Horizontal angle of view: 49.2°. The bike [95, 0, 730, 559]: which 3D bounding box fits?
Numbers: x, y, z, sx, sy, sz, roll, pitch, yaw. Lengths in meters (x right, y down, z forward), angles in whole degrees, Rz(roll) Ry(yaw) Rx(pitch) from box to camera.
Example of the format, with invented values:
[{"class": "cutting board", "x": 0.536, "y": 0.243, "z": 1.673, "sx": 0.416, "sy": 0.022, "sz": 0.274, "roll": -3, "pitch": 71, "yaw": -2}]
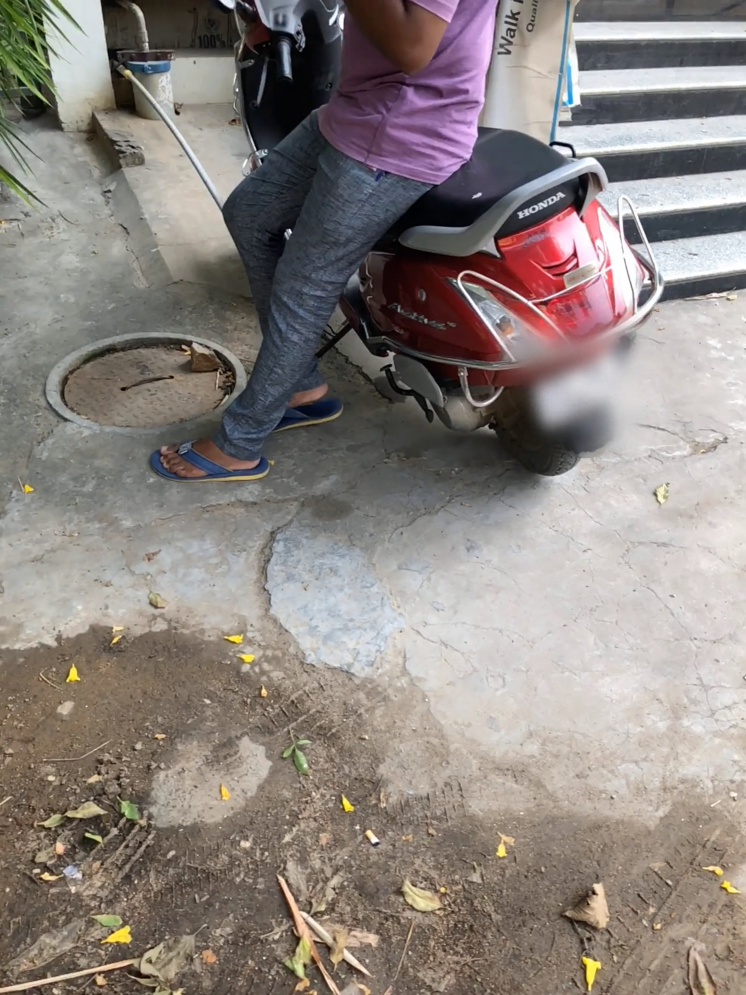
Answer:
[{"class": "bike", "x": -0.069, "y": -0.815, "z": 1.959, "sx": 0.574, "sy": 1.056, "sz": 1.482, "roll": -19, "pitch": 44, "yaw": -26}]
